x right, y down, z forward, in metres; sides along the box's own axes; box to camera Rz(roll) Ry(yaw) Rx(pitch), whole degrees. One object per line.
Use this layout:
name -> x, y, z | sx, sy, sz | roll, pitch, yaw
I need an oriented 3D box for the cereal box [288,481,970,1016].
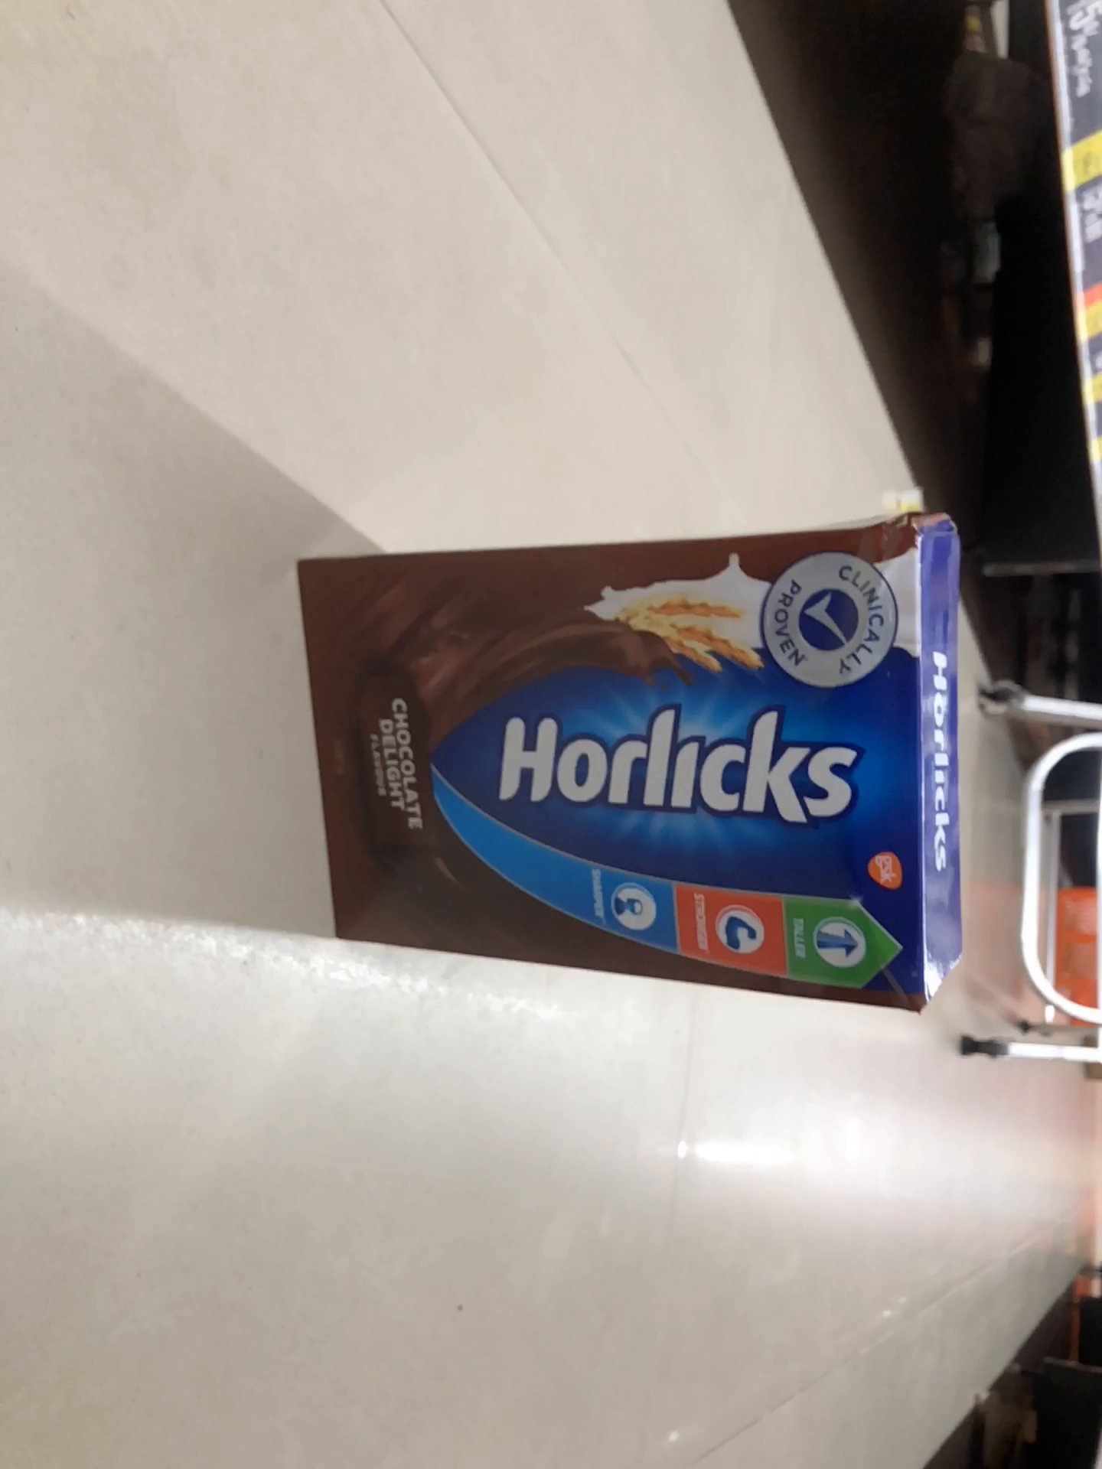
cereal box -> 0.023, 0.000, 0.387 | 0.060, 0.199, 0.140 | -20, 109, -62
